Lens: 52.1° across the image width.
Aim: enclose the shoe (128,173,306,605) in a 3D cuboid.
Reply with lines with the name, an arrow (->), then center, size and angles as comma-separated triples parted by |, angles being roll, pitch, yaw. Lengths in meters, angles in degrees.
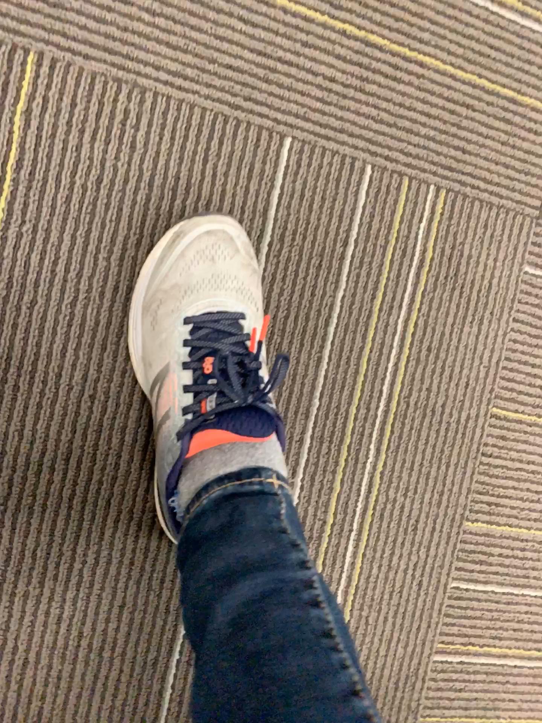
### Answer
shoe -> -0.043, 0.017, 0.401 | 0.110, 0.090, 0.270 | -1, 96, -15
